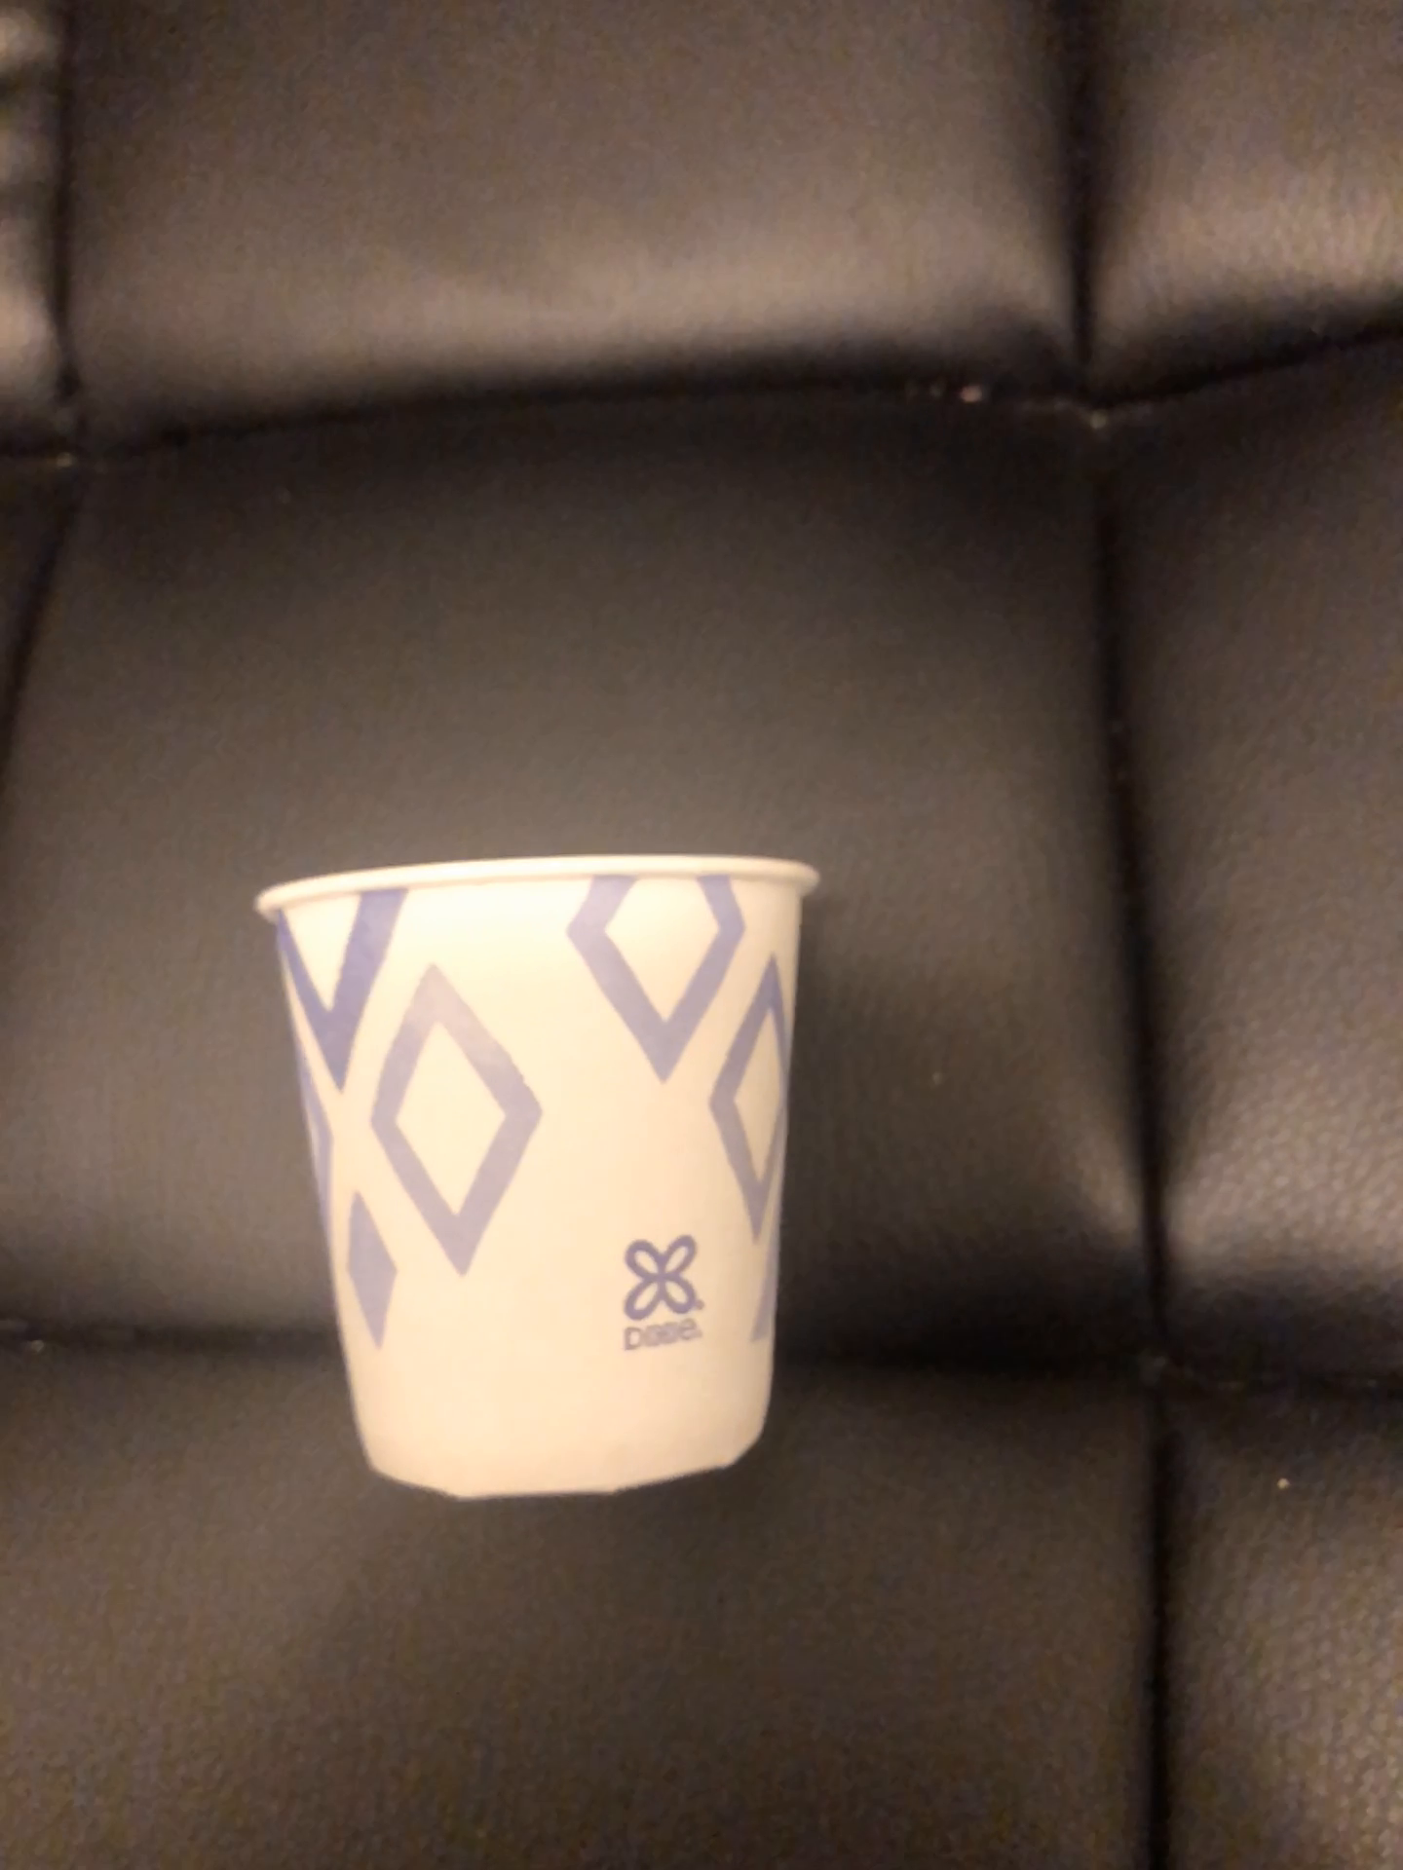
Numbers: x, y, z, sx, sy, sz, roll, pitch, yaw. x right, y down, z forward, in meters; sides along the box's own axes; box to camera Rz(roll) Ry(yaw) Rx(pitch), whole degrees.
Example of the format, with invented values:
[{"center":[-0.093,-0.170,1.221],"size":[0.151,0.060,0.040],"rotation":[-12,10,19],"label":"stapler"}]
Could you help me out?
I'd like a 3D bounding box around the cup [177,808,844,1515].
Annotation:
[{"center":[-0.015,0.020,0.160],"size":[0.052,0.049,0.058],"rotation":[-3,89,10],"label":"cup"}]
